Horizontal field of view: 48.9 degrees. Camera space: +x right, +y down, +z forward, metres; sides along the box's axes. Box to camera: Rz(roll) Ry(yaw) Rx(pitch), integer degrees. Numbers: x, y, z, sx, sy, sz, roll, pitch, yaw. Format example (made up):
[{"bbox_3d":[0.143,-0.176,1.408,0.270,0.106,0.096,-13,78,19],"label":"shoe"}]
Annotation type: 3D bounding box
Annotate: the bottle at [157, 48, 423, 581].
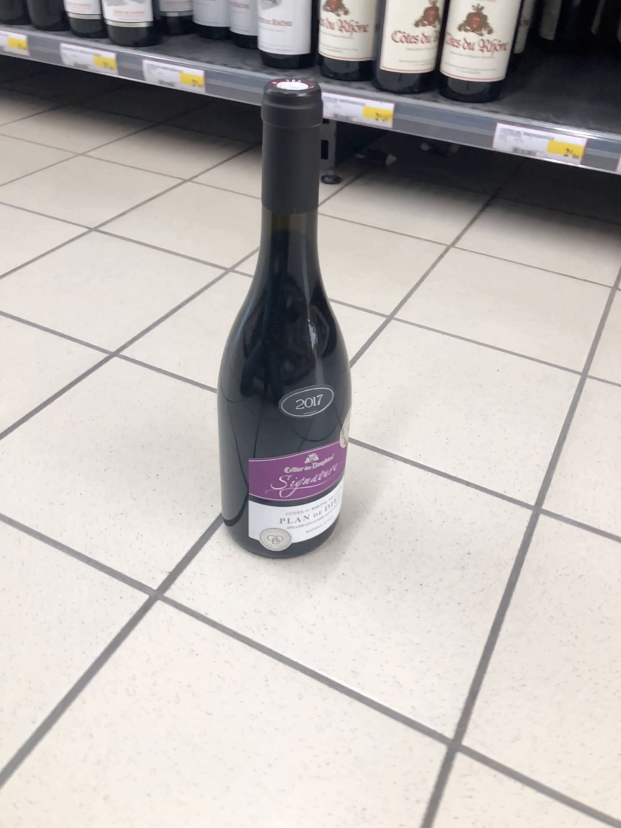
[{"bbox_3d":[-0.018,-0.043,0.402,0.090,0.288,0.090,2,38,-2],"label":"bottle"}]
